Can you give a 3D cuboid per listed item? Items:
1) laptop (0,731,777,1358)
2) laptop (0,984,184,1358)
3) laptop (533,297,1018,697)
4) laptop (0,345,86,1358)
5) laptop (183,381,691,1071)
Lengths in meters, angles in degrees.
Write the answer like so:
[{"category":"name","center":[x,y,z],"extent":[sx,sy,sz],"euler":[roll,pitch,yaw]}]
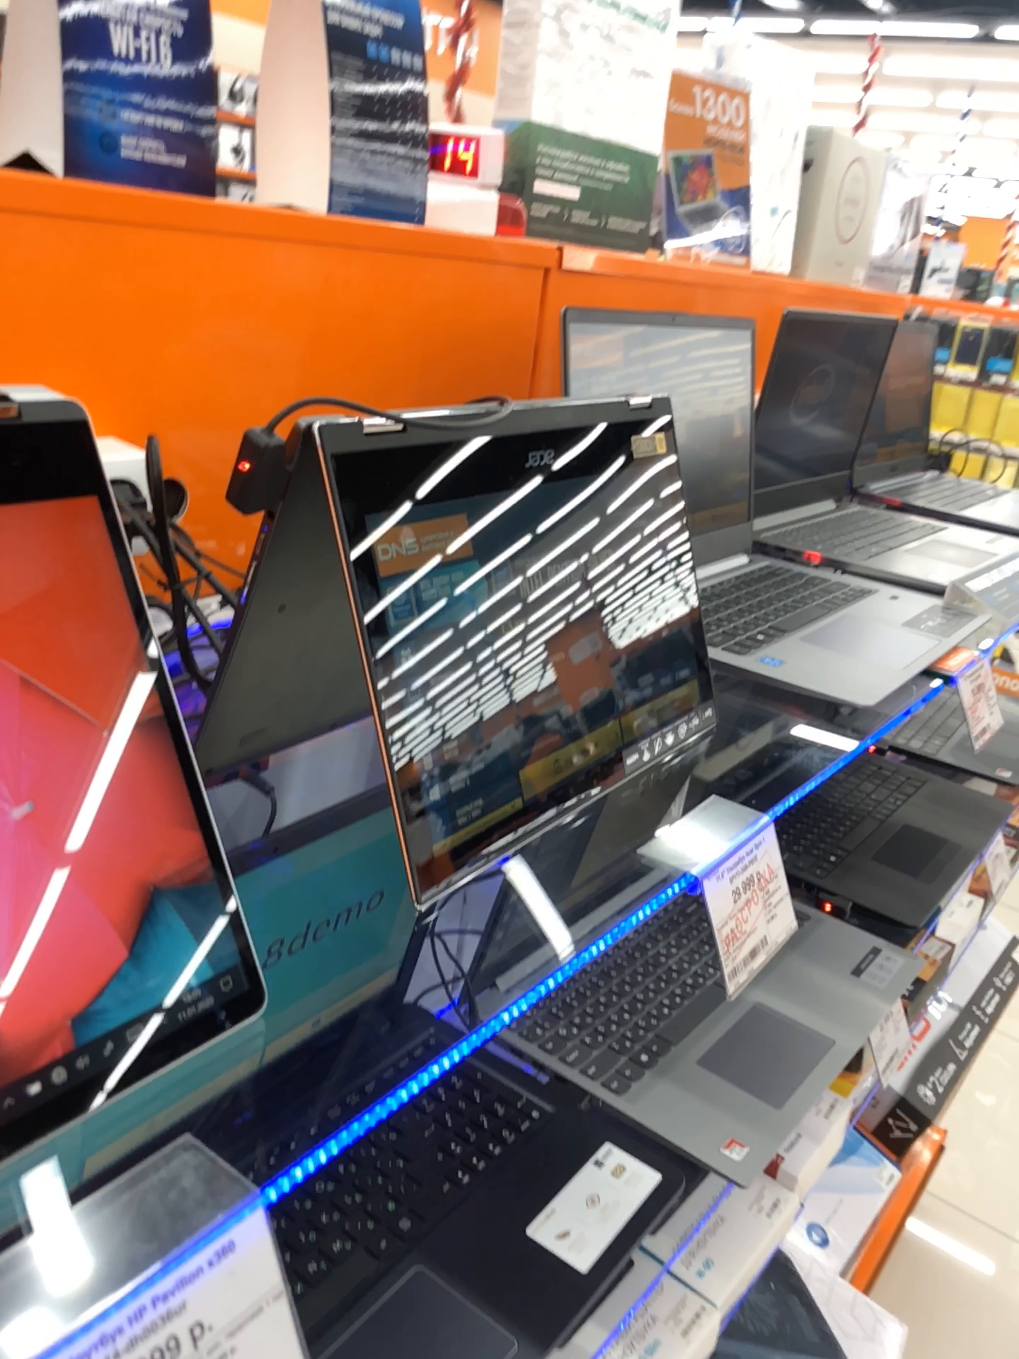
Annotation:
[{"category":"laptop","center":[-0.059,0.213,0.614],"extent":[0.239,0.223,0.361],"euler":[20,24,32]},{"category":"laptop","center":[-0.297,0.312,0.298],"extent":[0.223,0.202,0.364],"euler":[25,27,31]},{"category":"laptop","center":[0.240,-0.166,0.898],"extent":[0.272,0.209,0.351],"euler":[20,23,29]},{"category":"laptop","center":[-0.286,0.085,0.352],"extent":[0.182,0.149,0.300],"euler":[-22,-1,38]},{"category":"laptop","center":[-0.038,0.022,0.635],"extent":[0.181,0.142,0.278],"euler":[-26,-4,42]}]
